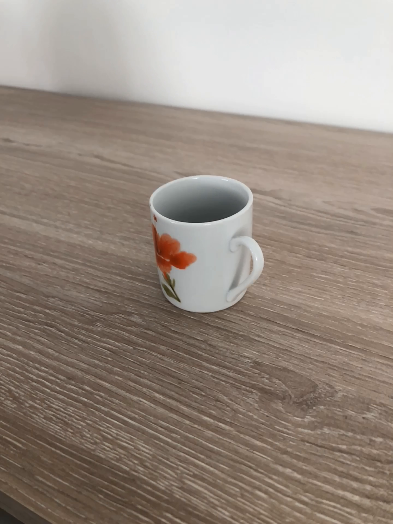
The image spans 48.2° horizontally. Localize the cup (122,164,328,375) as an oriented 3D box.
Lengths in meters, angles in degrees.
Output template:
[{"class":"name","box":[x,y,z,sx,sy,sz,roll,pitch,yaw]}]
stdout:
[{"class":"cup","box":[0.012,-0.002,0.224,0.060,0.060,0.080,-24,40,-27]}]
